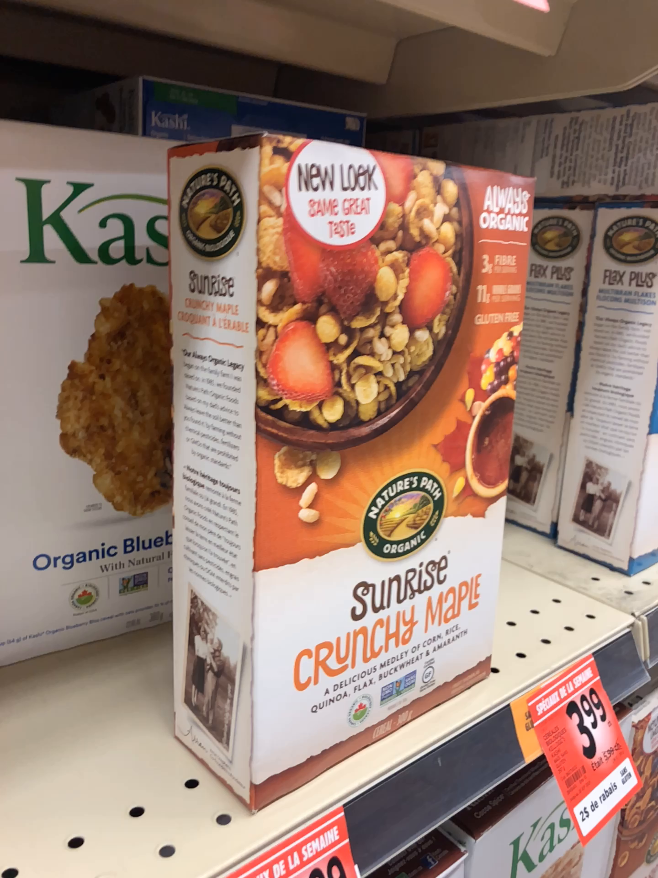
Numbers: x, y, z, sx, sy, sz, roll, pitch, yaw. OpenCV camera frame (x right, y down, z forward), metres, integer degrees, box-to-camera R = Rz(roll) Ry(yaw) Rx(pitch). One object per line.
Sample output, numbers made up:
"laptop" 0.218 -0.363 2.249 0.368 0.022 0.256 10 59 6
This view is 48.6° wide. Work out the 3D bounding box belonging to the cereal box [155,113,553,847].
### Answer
"cereal box" 0.016 0.011 0.333 0.170 0.269 0.060 -11 18 -41
